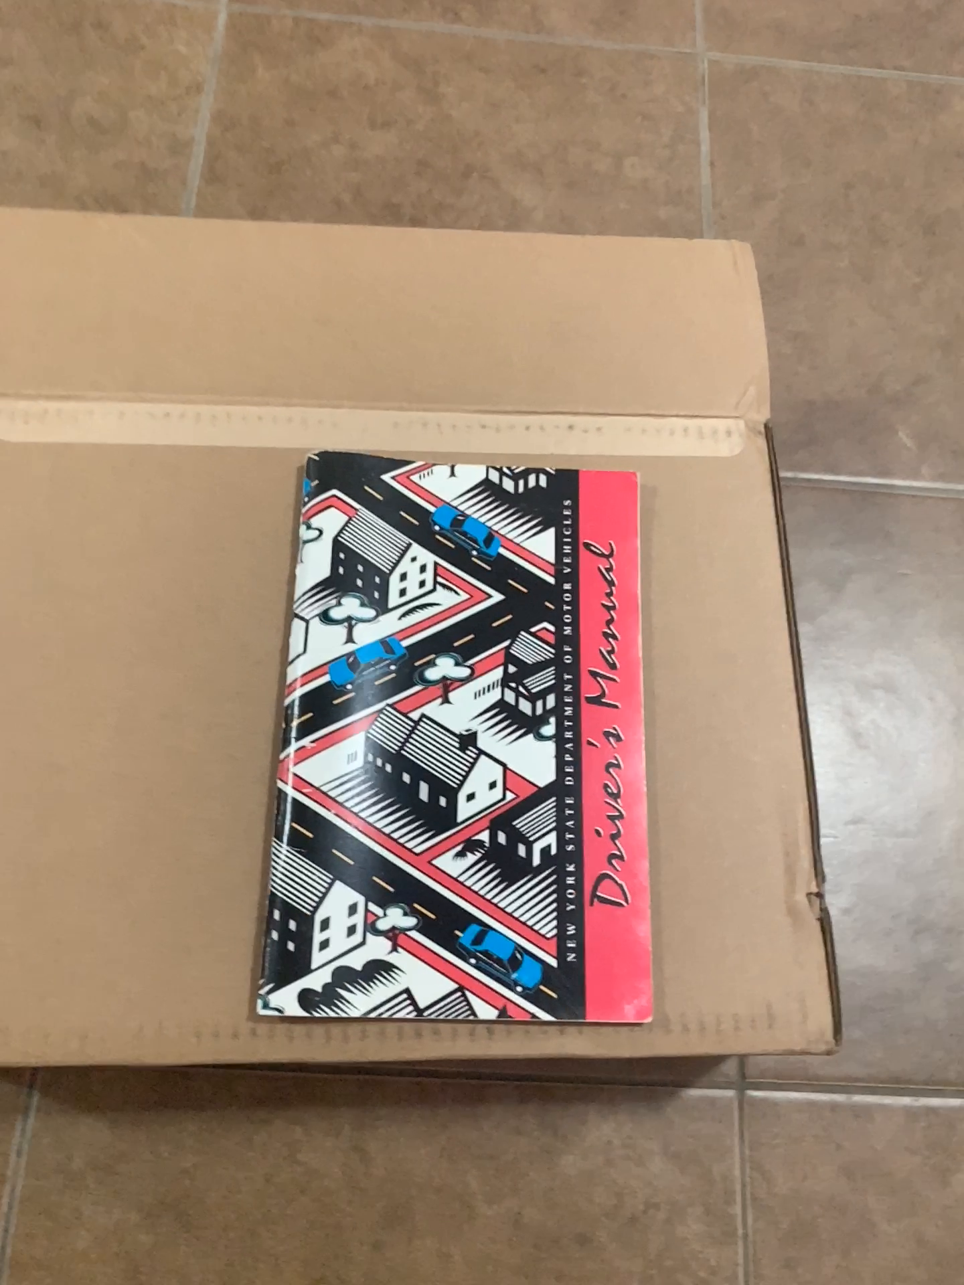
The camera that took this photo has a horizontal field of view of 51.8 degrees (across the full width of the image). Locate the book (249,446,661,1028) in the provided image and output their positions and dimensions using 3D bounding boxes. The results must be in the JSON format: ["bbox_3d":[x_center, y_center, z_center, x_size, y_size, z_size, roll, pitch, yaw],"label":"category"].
[{"bbox_3d":[-0.006,0.027,0.360,0.133,0.013,0.207,3,71,-3],"label":"book"}]
